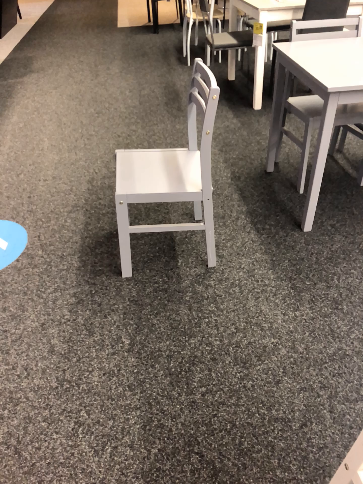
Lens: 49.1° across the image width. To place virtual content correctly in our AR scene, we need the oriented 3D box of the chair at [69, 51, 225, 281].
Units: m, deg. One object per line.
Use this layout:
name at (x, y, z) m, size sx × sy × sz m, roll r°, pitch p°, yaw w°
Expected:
chair at (-0.122, -0.316, 1.677) m, size 0.490 × 0.766 × 0.493 m, roll -7°, pitch 38°, yaw -5°
